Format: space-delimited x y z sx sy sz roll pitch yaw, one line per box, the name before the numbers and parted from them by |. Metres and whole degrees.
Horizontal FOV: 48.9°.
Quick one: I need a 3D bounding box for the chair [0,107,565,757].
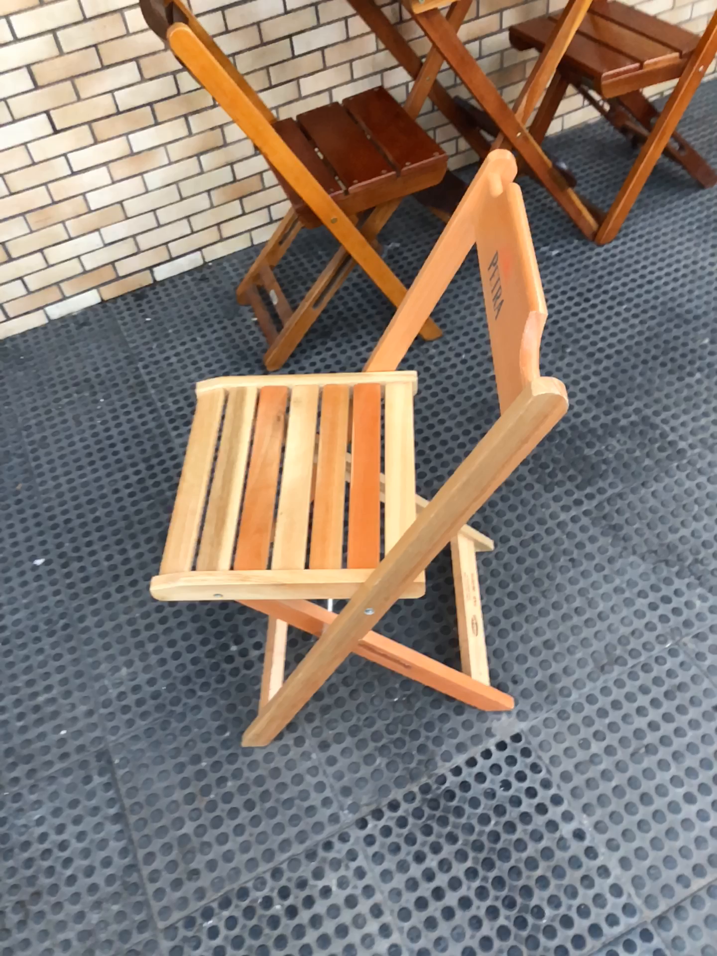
chair | -0.032 -0.002 1.094 0.500 0.755 0.483 -3 49 6
